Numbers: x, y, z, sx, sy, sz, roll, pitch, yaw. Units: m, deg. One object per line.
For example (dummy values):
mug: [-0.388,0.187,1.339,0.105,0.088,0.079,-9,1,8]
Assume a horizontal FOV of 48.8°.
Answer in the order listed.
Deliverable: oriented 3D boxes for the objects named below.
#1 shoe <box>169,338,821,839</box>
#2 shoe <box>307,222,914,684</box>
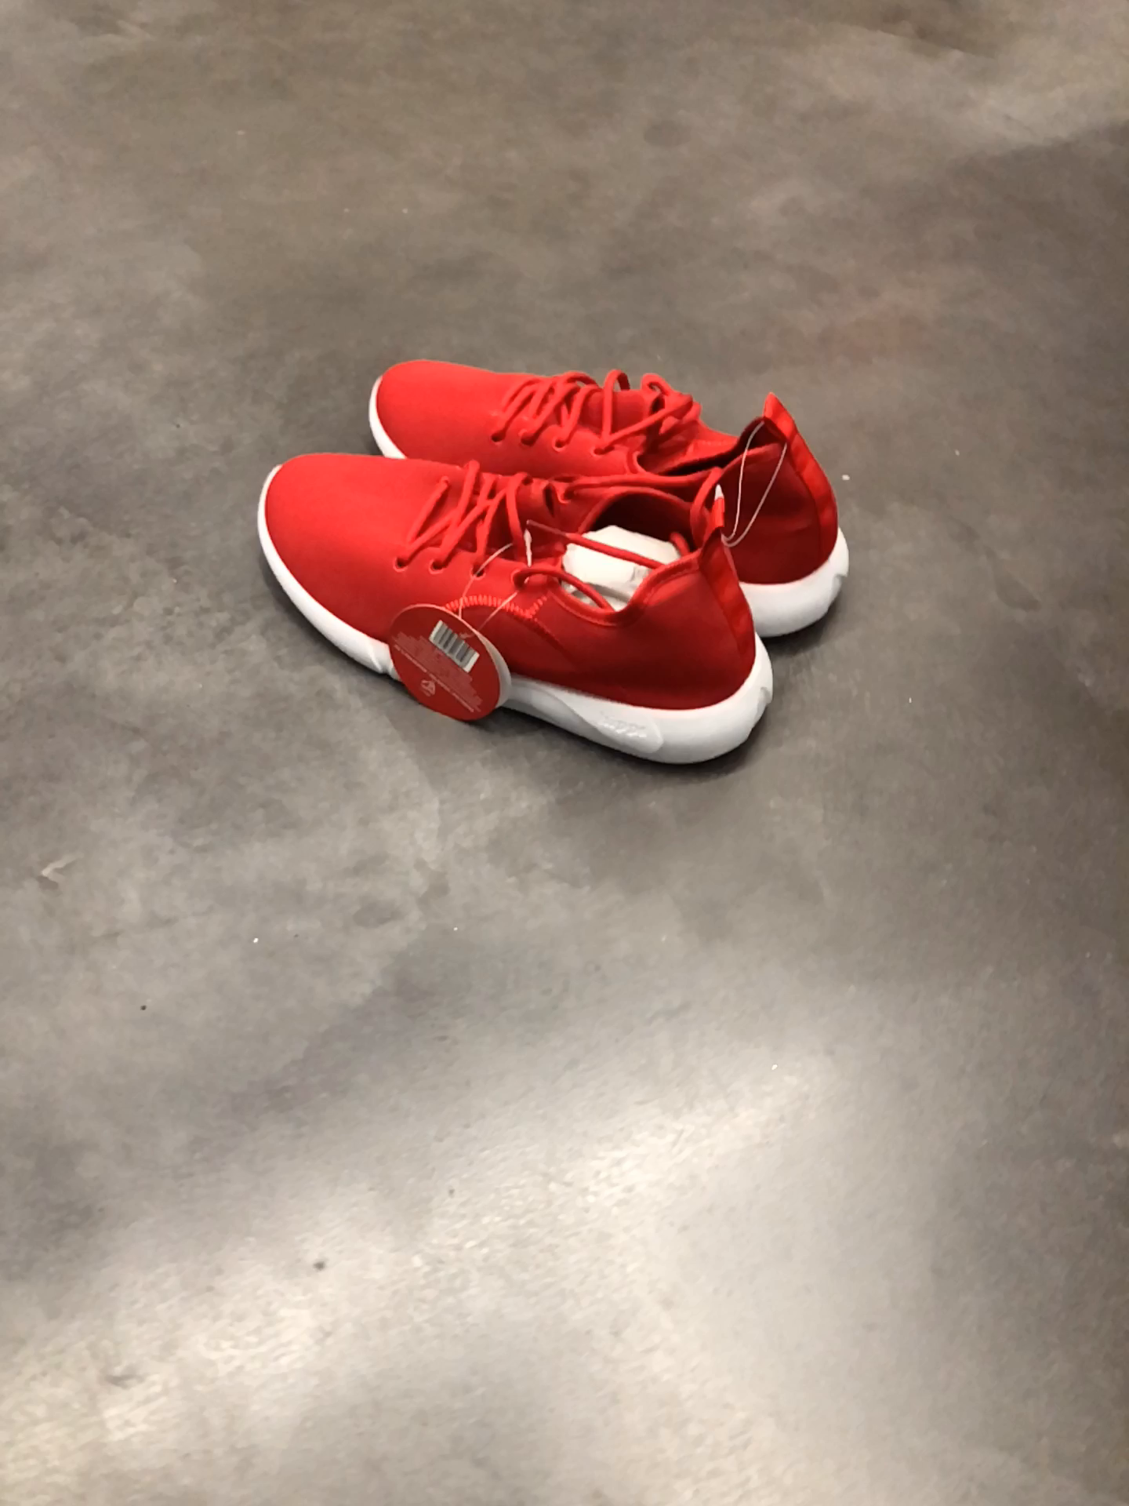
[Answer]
shoe: [-0.031,-0.077,0.548,0.250,0.100,0.100,24,57,16]
shoe: [0.018,-0.146,0.588,0.250,0.100,0.100,25,57,17]
